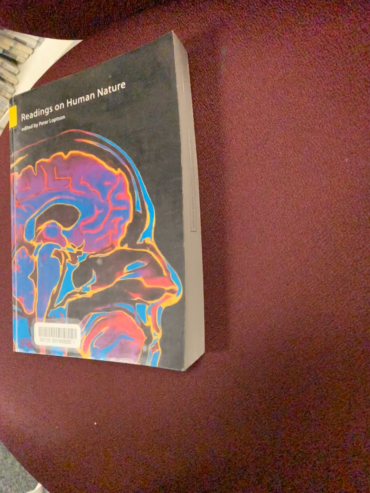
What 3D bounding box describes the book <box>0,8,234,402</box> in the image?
[{"bbox_3d":[-0.065,-0.025,0.293,0.201,0.040,0.240,-4,81,30],"label":"book"}]
